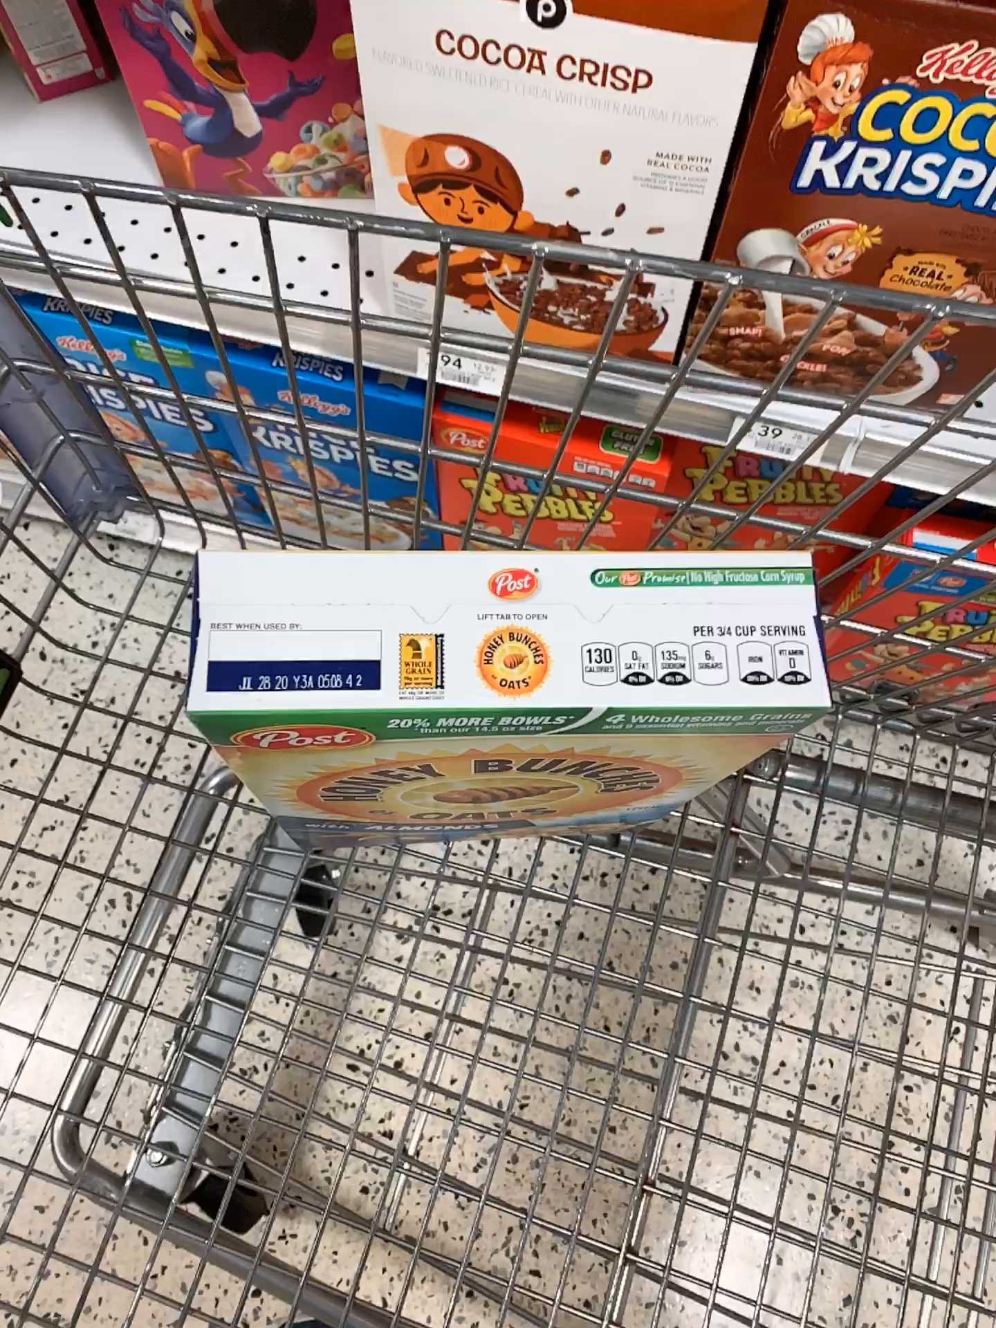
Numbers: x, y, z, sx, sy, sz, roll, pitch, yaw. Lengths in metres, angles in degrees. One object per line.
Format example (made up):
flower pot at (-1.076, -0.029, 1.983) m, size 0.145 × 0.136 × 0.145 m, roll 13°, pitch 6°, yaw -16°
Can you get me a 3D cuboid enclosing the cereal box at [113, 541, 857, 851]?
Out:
cereal box at (-0.008, 0.035, 0.447) m, size 0.210 × 0.309 × 0.060 m, roll 0°, pitch 74°, yaw -2°
